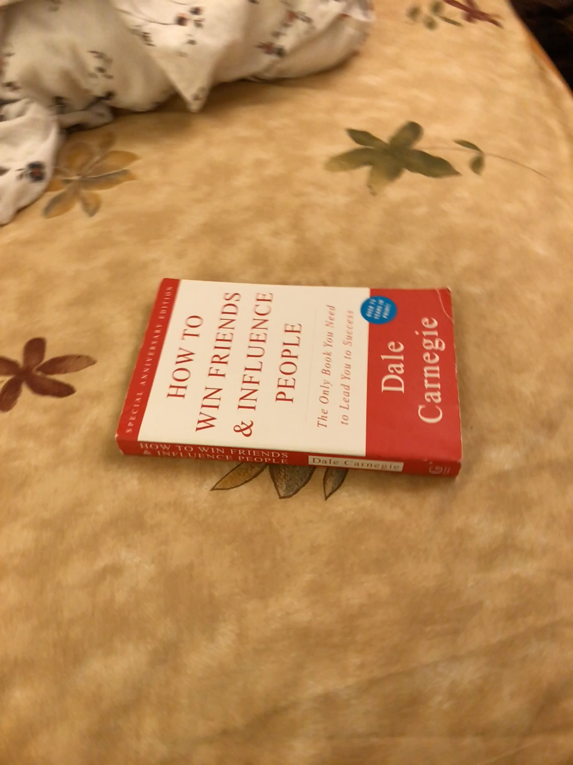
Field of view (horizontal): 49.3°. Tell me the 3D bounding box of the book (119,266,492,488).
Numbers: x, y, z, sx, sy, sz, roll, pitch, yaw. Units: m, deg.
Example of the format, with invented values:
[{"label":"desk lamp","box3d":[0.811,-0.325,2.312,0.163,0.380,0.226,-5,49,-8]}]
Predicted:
[{"label":"book","box3d":[0.016,-0.011,0.417,0.220,0.020,0.151,4,56,5]}]
